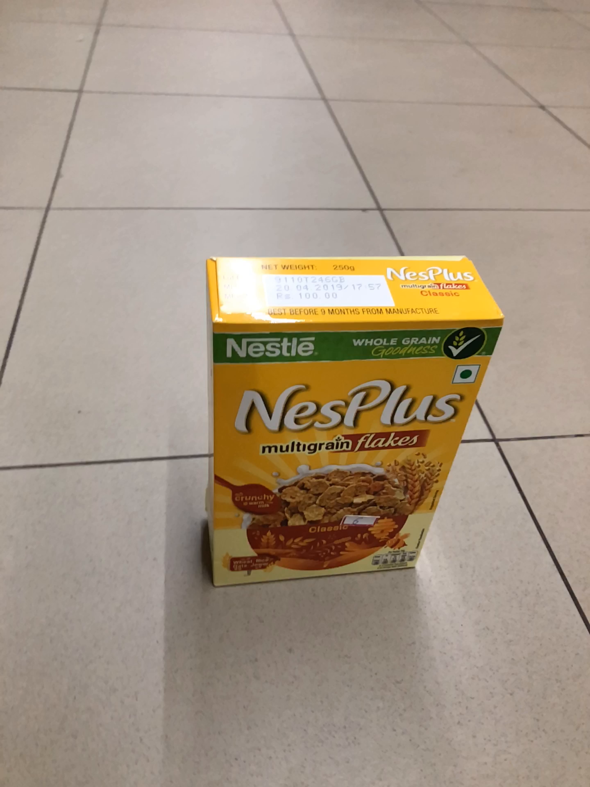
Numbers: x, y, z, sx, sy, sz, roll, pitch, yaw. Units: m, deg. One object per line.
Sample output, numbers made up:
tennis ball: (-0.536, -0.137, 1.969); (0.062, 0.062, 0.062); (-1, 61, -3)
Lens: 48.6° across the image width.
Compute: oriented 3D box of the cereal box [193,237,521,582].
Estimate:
cereal box: (0.017, 0.017, 0.363); (0.140, 0.199, 0.060); (-2, 43, -10)
